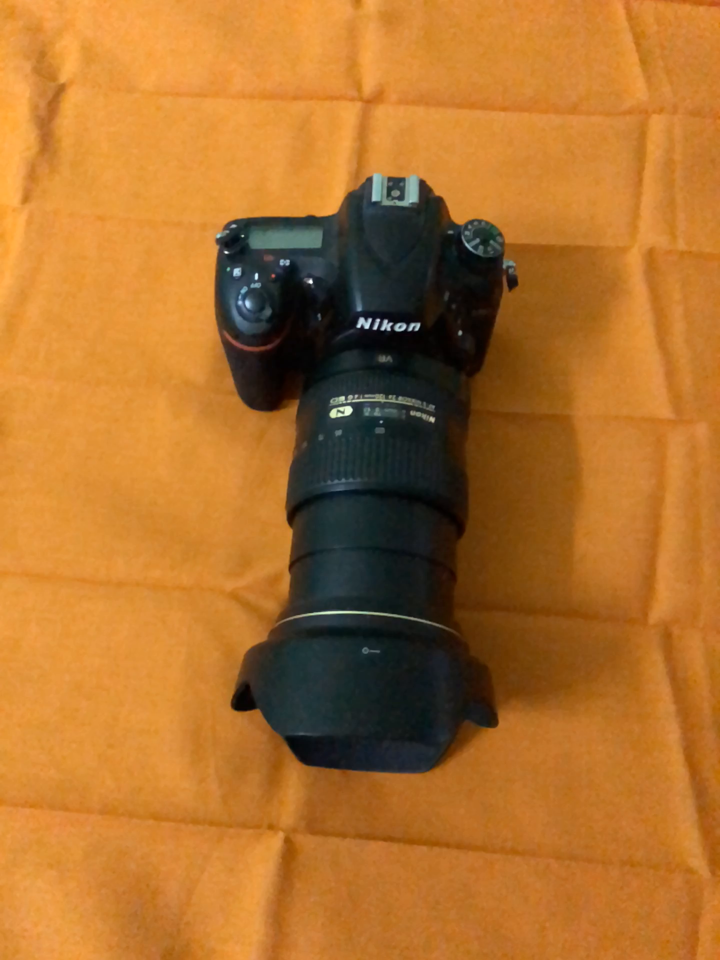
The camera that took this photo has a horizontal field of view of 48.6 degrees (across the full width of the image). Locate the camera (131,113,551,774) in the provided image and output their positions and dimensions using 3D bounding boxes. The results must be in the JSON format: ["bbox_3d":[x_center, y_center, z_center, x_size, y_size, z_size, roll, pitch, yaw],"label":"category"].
[{"bbox_3d":[-0.002,-0.015,0.354,0.130,0.120,0.264,2,67,1],"label":"camera"}]
